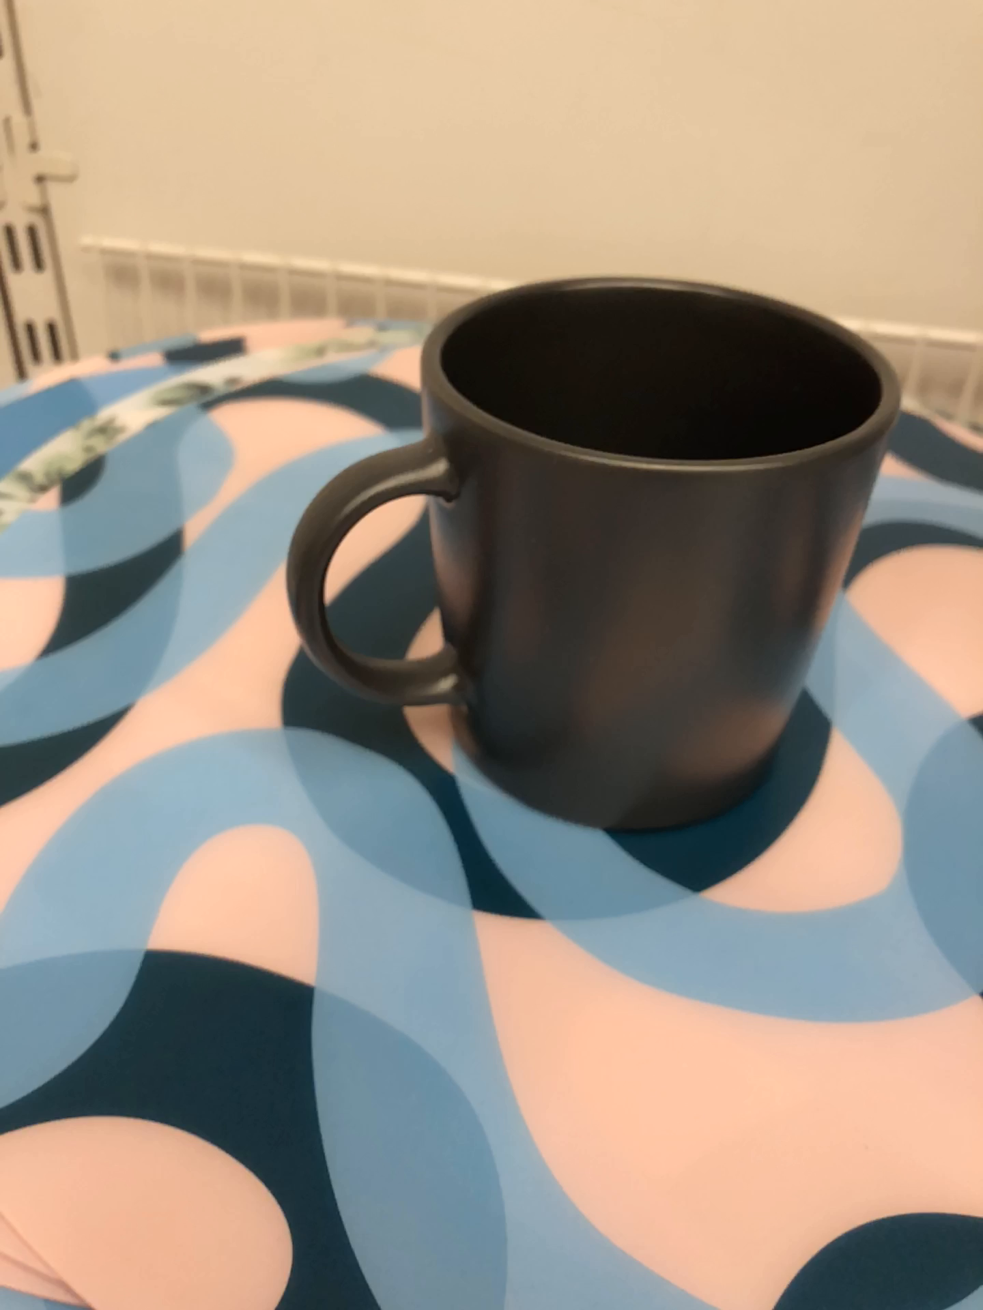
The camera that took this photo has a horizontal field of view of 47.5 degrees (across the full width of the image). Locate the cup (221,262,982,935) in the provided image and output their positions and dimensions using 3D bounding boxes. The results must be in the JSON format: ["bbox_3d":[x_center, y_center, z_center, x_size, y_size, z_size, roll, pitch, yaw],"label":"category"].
[{"bbox_3d":[0.015,-0.019,0.228,0.120,0.090,0.090,-8,36,-14],"label":"cup"}]
